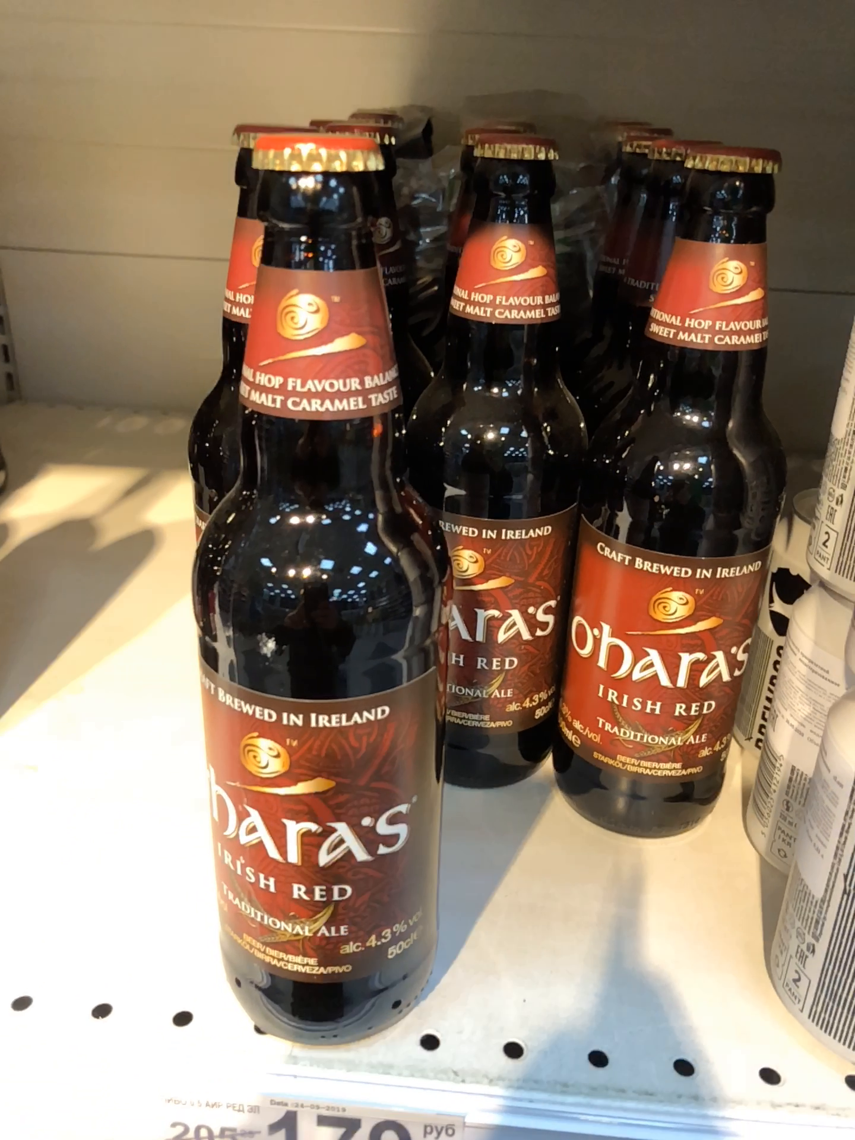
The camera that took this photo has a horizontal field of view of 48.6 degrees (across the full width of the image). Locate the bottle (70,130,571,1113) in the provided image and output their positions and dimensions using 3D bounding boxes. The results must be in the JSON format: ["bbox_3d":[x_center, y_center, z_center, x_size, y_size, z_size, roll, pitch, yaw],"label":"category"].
[{"bbox_3d":[-0.022,0.017,0.258,0.080,0.246,0.080,2,25,-1],"label":"bottle"}]
